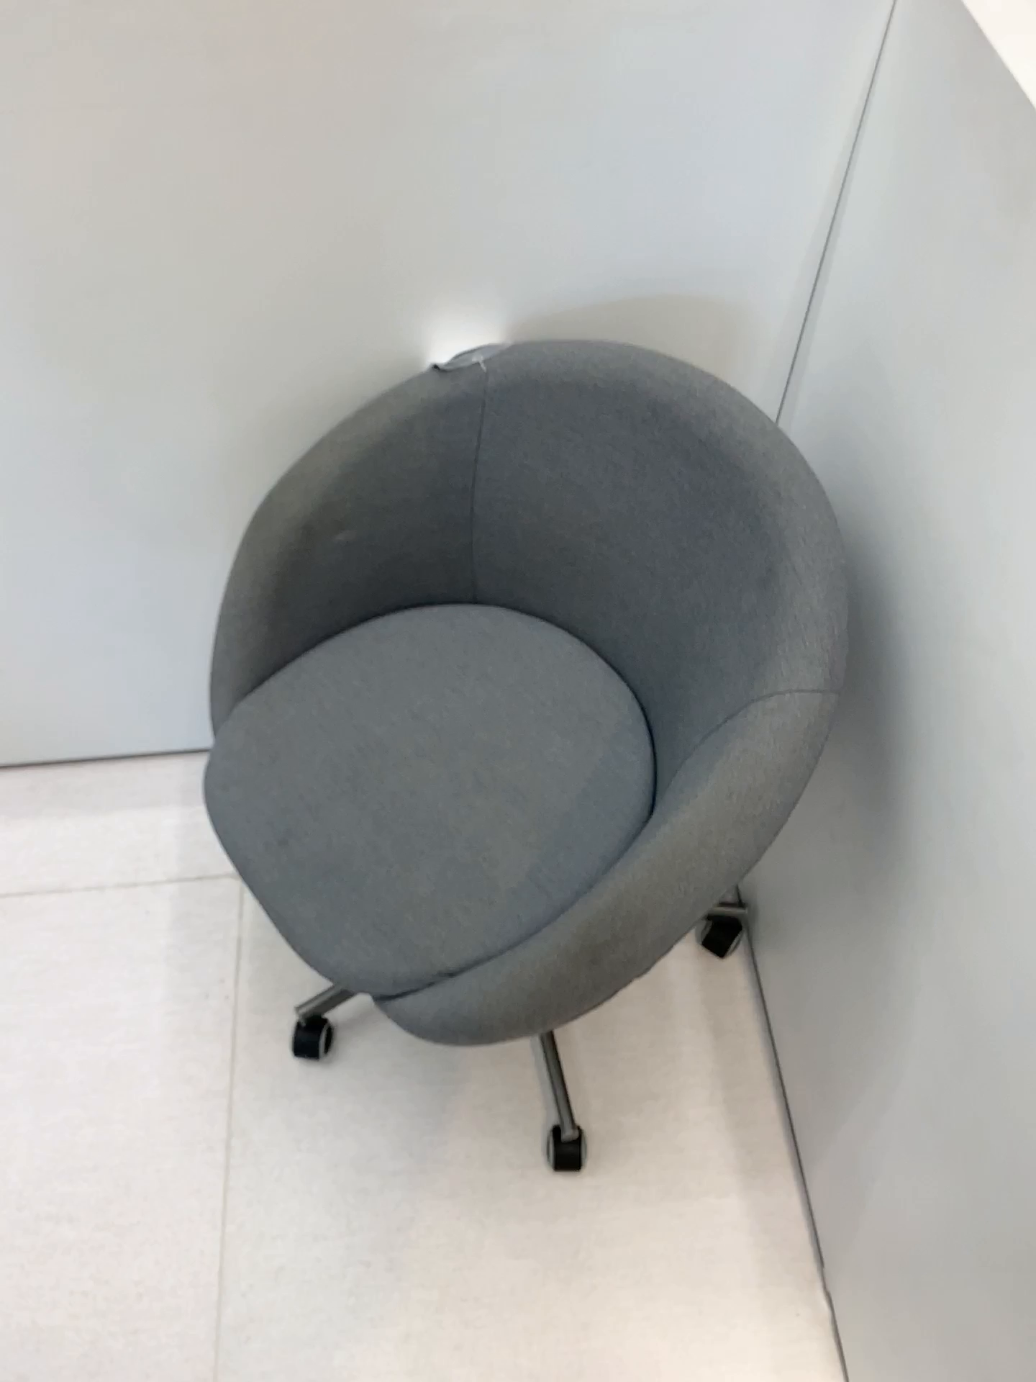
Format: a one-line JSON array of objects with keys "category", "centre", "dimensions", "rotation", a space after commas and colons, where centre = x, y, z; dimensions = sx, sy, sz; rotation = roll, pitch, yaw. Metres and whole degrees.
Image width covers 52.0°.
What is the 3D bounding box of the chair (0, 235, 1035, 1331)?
[{"category": "chair", "centre": [-0.022, 0.141, 1.246], "dimensions": [0.710, 0.828, 0.731], "rotation": [-30, 62, -19]}]
